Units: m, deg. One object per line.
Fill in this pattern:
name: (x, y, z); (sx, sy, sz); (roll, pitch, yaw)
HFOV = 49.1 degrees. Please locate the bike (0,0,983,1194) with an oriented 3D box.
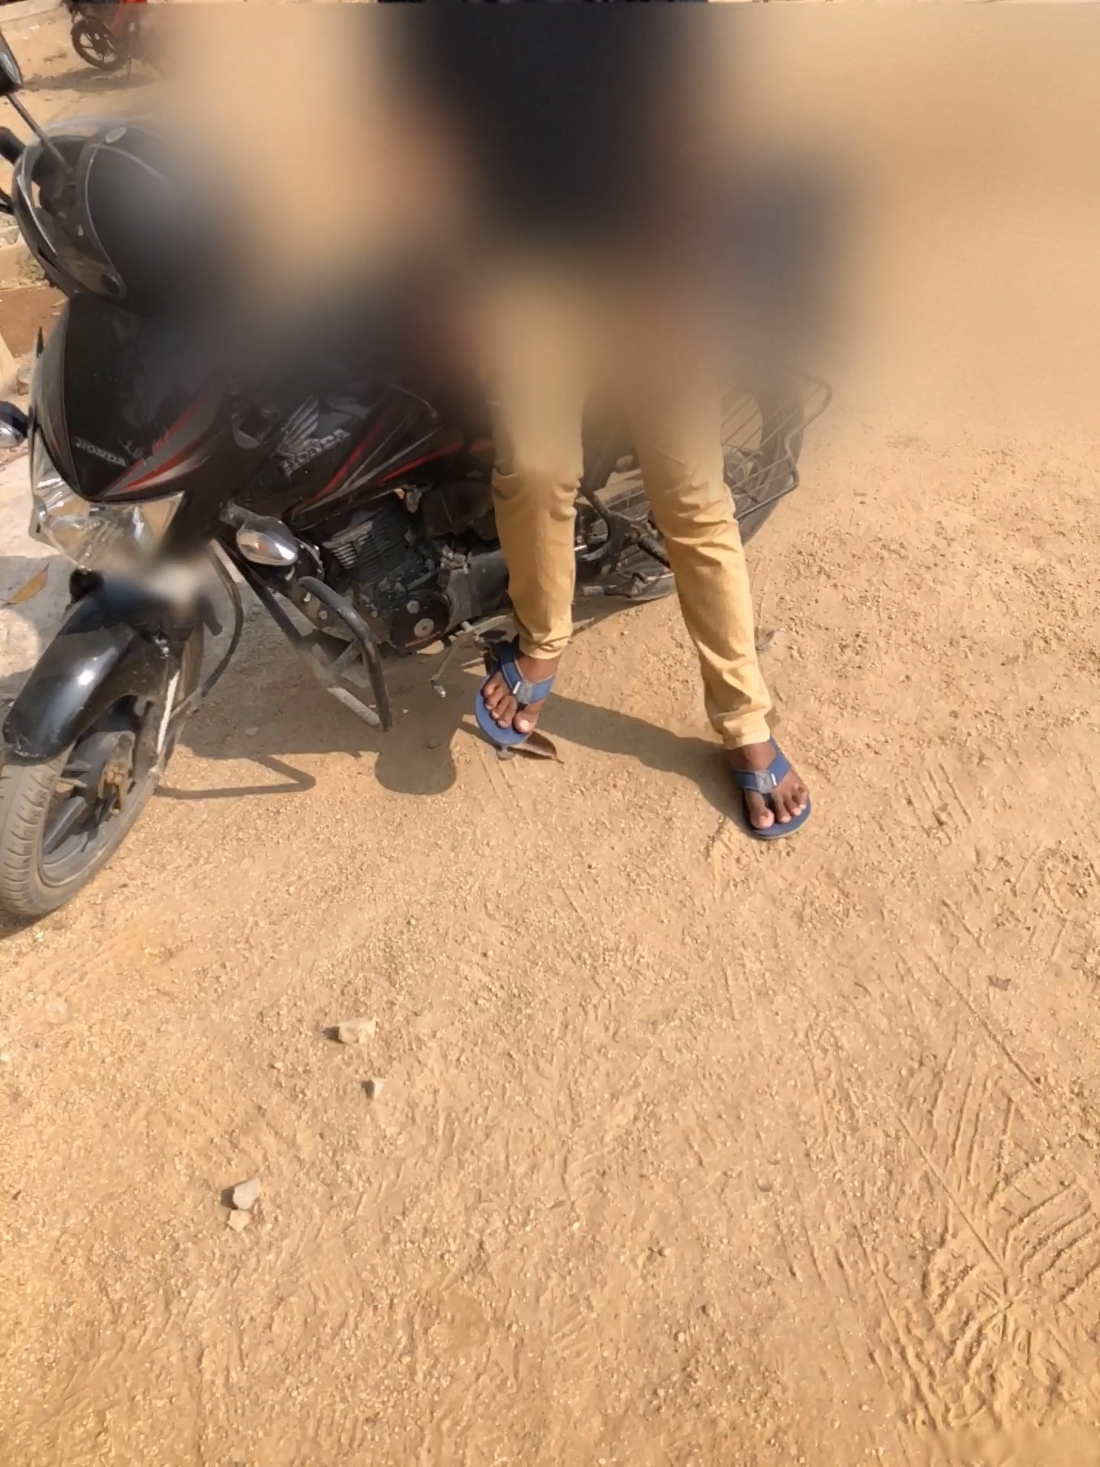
bike: (-0.170, -0.448, 1.948); (1.698, 1.214, 0.881); (-33, 40, -28)
